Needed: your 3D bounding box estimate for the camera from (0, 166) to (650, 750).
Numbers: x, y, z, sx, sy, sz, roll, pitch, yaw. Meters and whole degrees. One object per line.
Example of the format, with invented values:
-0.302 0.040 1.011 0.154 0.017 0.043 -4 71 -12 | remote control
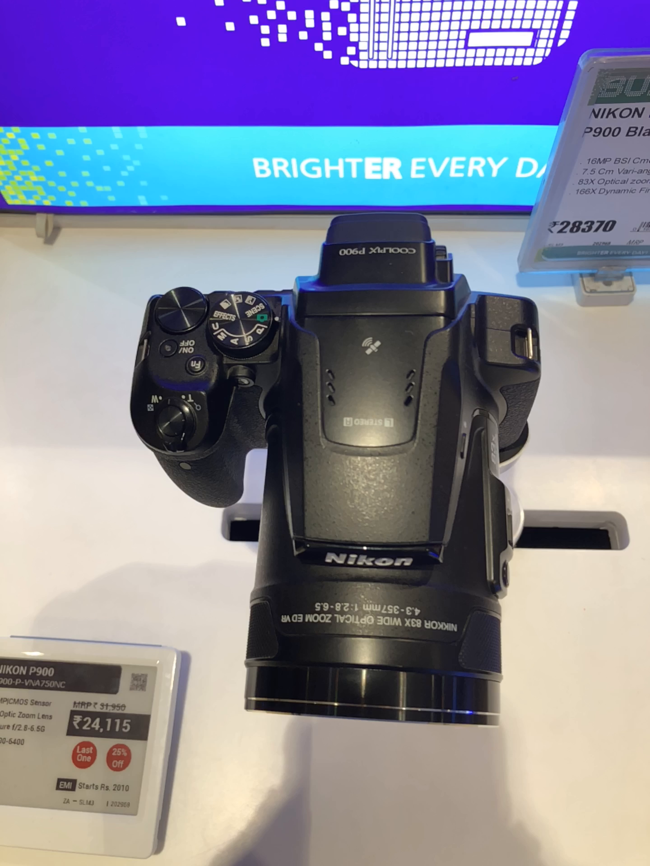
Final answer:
0.008 0.012 0.211 0.140 0.100 0.140 1 64 2 | camera
